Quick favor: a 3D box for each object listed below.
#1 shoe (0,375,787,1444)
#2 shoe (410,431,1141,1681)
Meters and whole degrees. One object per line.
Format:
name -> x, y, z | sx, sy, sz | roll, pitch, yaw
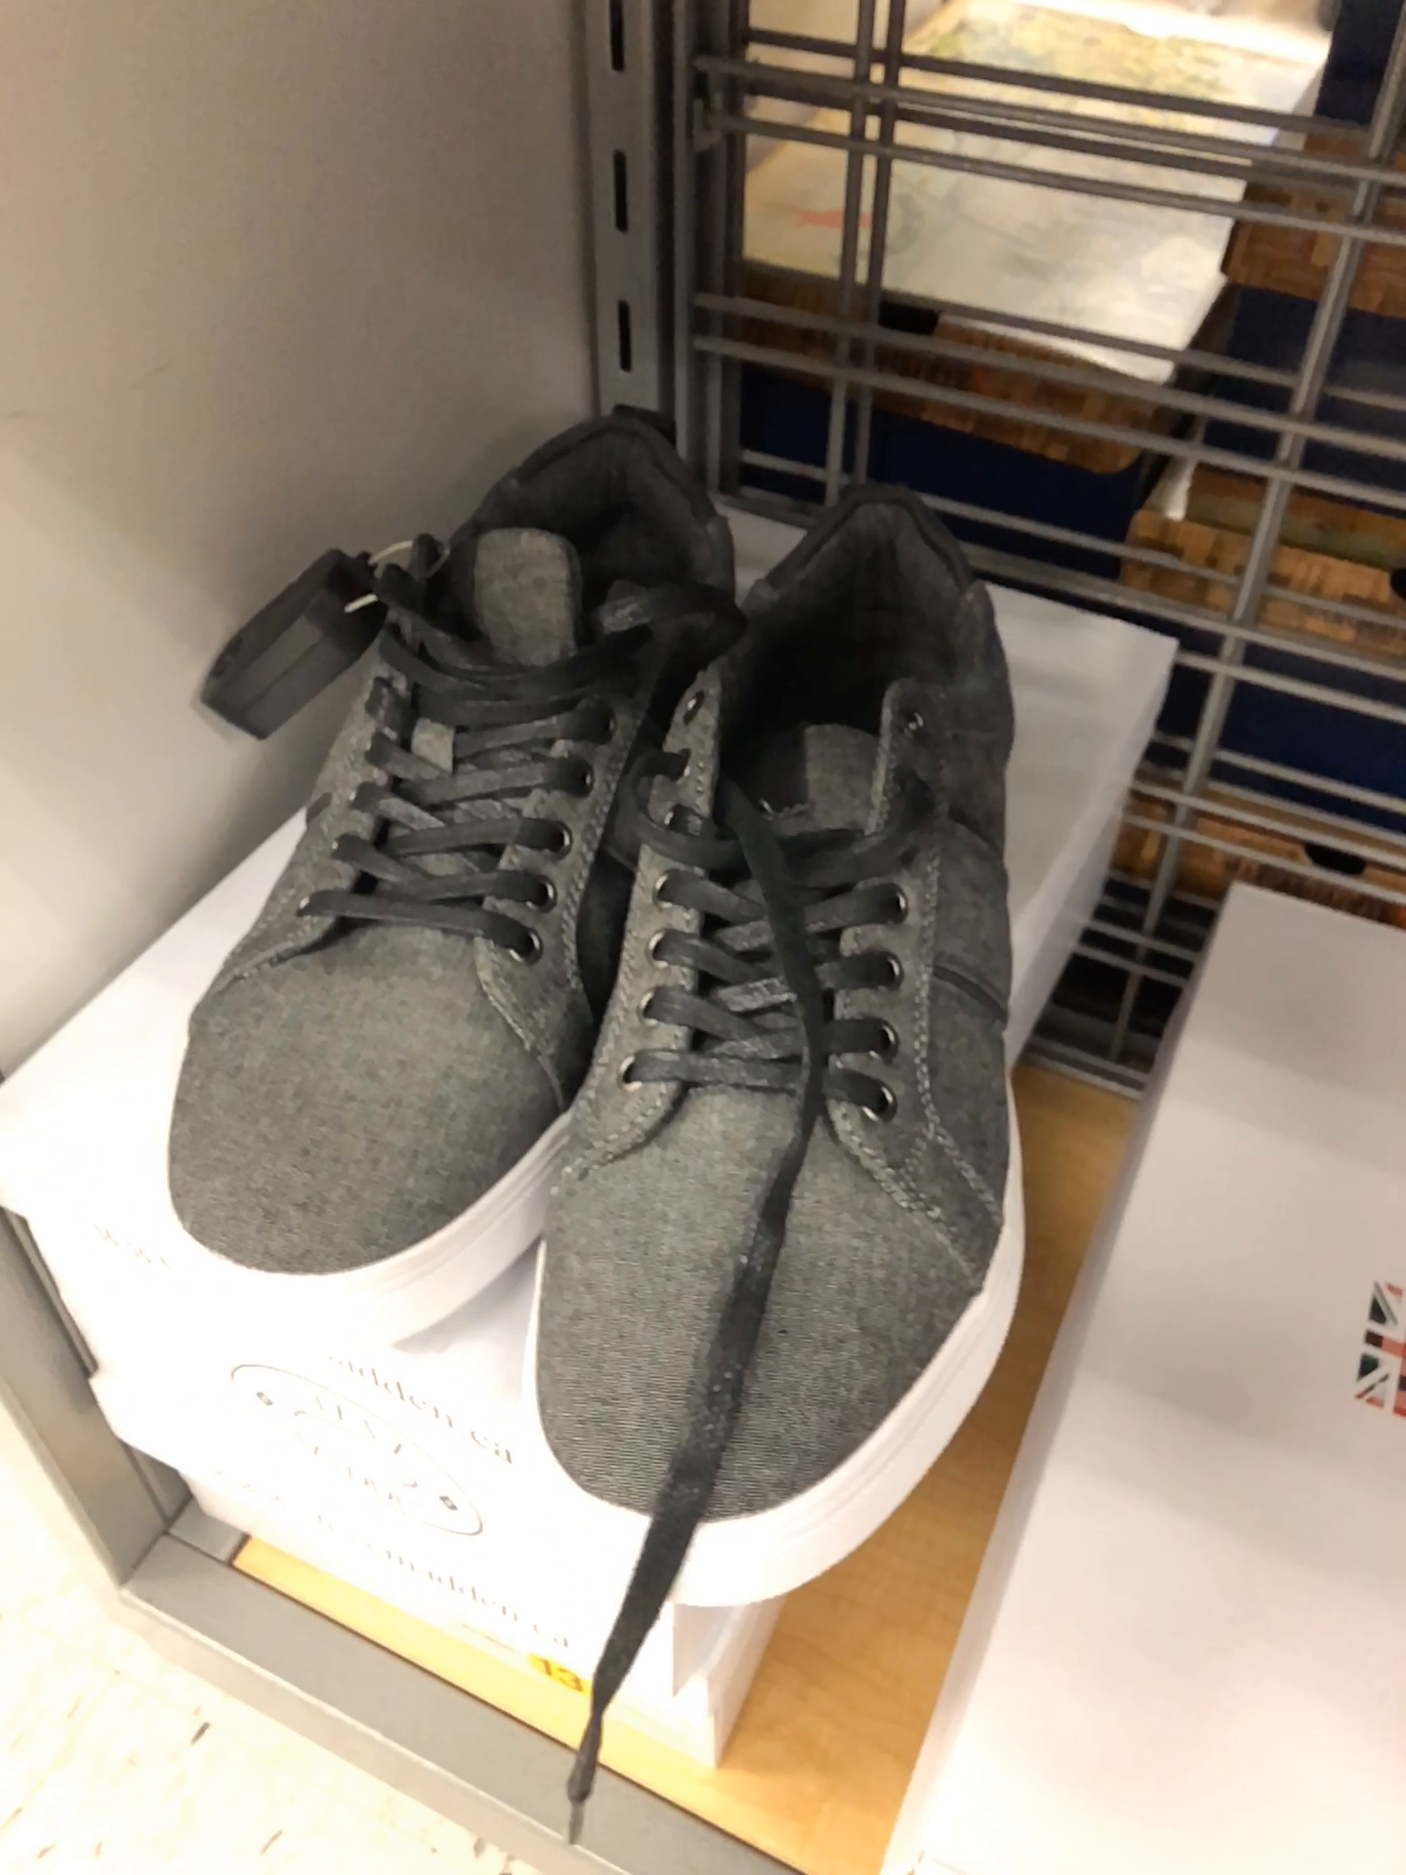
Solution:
shoe -> -0.060, -0.028, 0.391 | 0.107, 0.099, 0.262 | 10, 46, 9
shoe -> 0.033, 0.001, 0.356 | 0.107, 0.099, 0.272 | 8, 46, 7
